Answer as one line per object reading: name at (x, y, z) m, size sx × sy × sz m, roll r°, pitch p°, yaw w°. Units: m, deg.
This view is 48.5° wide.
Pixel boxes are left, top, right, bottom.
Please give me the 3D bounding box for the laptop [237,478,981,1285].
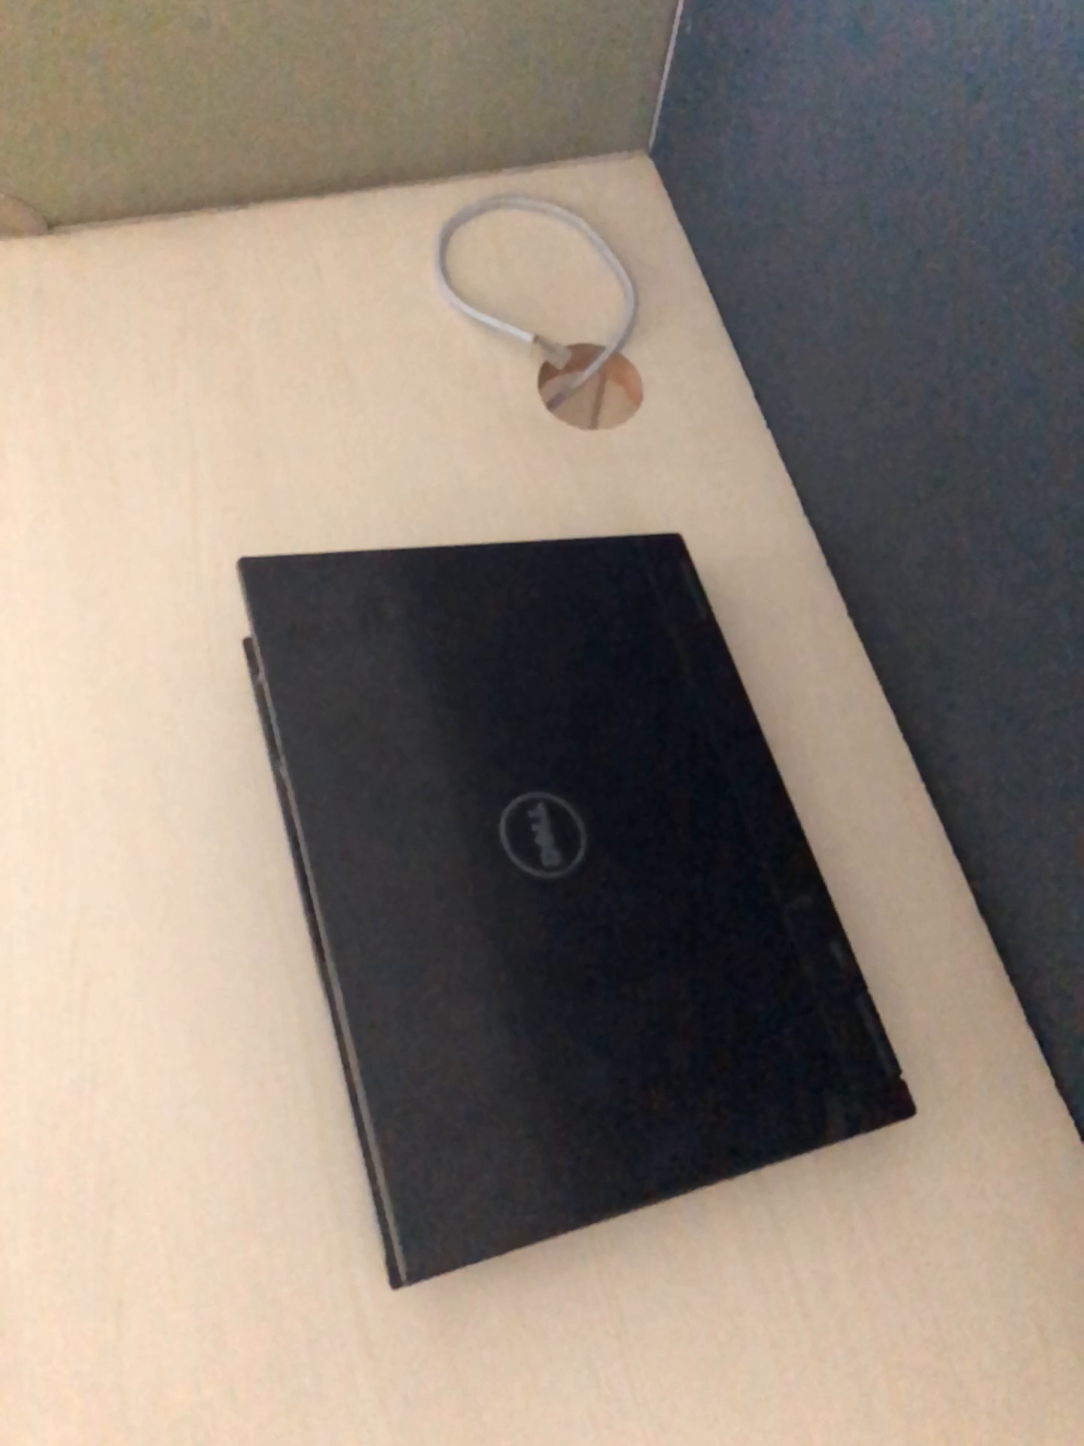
laptop at (0.013, 0.055, 0.536) m, size 0.230 × 0.065 × 0.303 m, roll -14°, pitch 67°, yaw -10°
